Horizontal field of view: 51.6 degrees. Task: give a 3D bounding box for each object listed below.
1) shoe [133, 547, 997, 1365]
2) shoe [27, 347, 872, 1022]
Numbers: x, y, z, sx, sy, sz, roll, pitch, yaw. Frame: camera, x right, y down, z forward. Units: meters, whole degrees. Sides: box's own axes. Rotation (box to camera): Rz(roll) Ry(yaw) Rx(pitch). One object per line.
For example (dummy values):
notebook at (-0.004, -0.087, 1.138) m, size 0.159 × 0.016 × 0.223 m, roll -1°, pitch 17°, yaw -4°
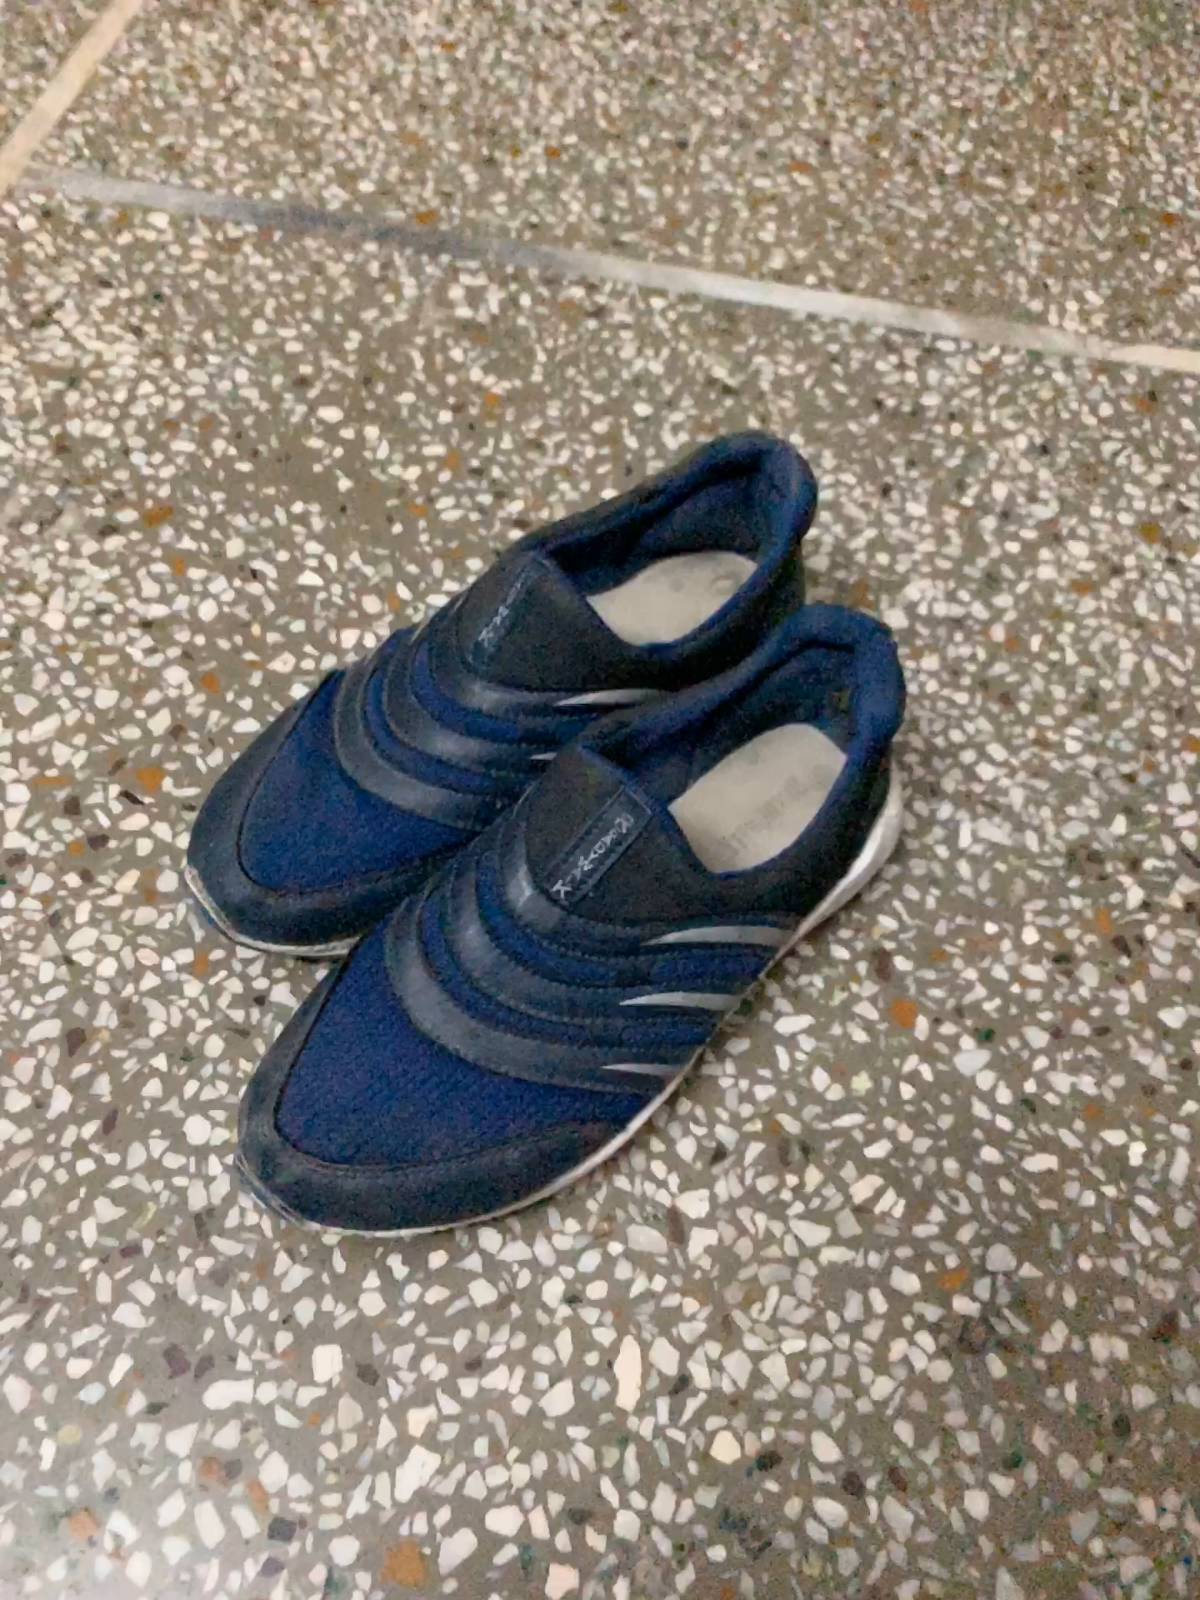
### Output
shoe at (-0.001, 0.044, 0.433) m, size 0.279 × 0.096 × 0.104 m, roll -39°, pitch 69°, yaw -24°
shoe at (-0.043, -0.053, 0.463) m, size 0.283 × 0.080 × 0.104 m, roll -34°, pitch 66°, yaw -21°
